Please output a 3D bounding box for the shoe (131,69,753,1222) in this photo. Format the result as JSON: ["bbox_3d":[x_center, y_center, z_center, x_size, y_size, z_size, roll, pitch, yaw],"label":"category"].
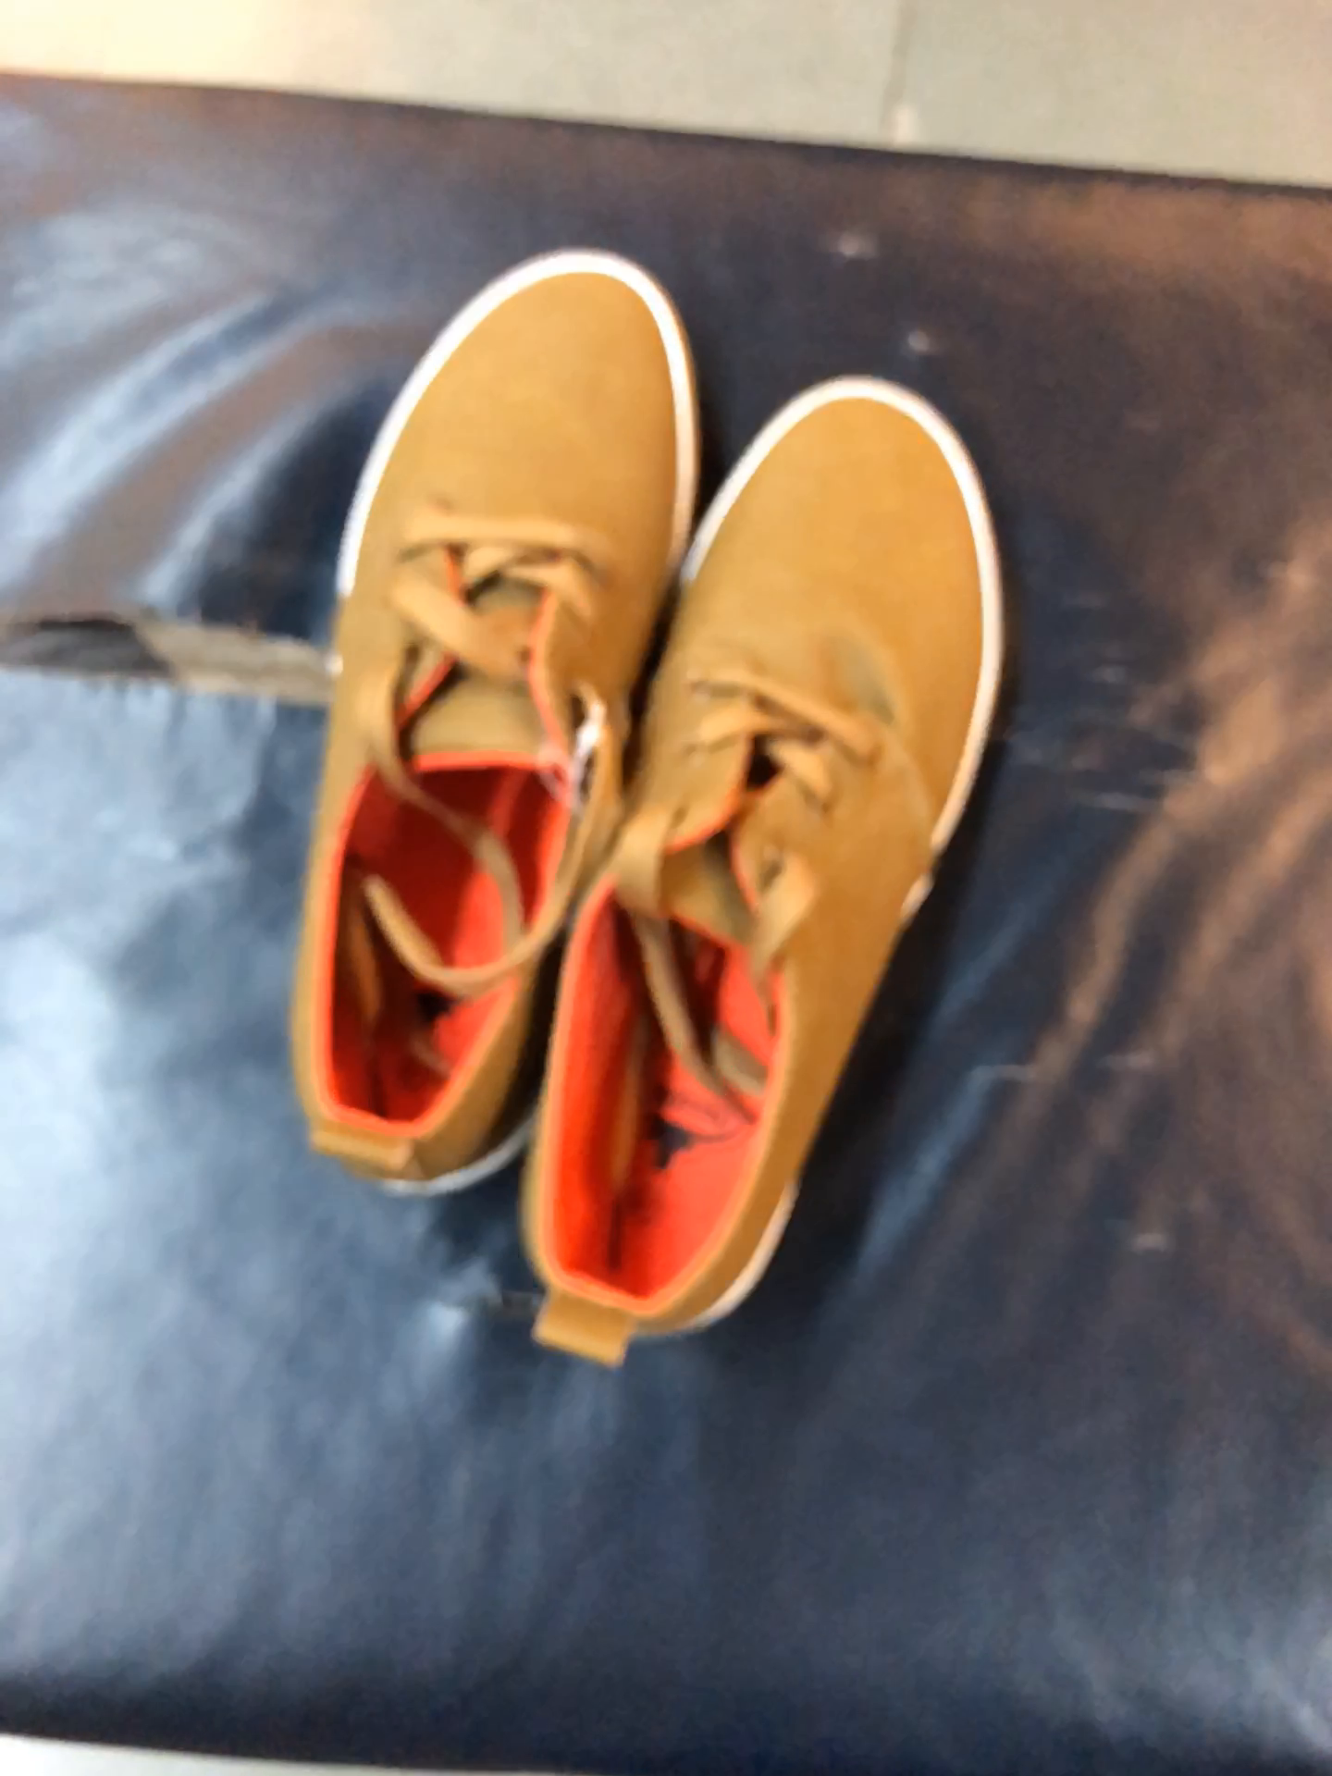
[{"bbox_3d":[-0.045,-0.056,0.389,0.100,0.097,0.266,7,76,0],"label":"shoe"}]

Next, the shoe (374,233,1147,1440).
[{"bbox_3d":[0.027,-0.014,0.379,0.095,0.091,0.261,19,76,3],"label":"shoe"}]
